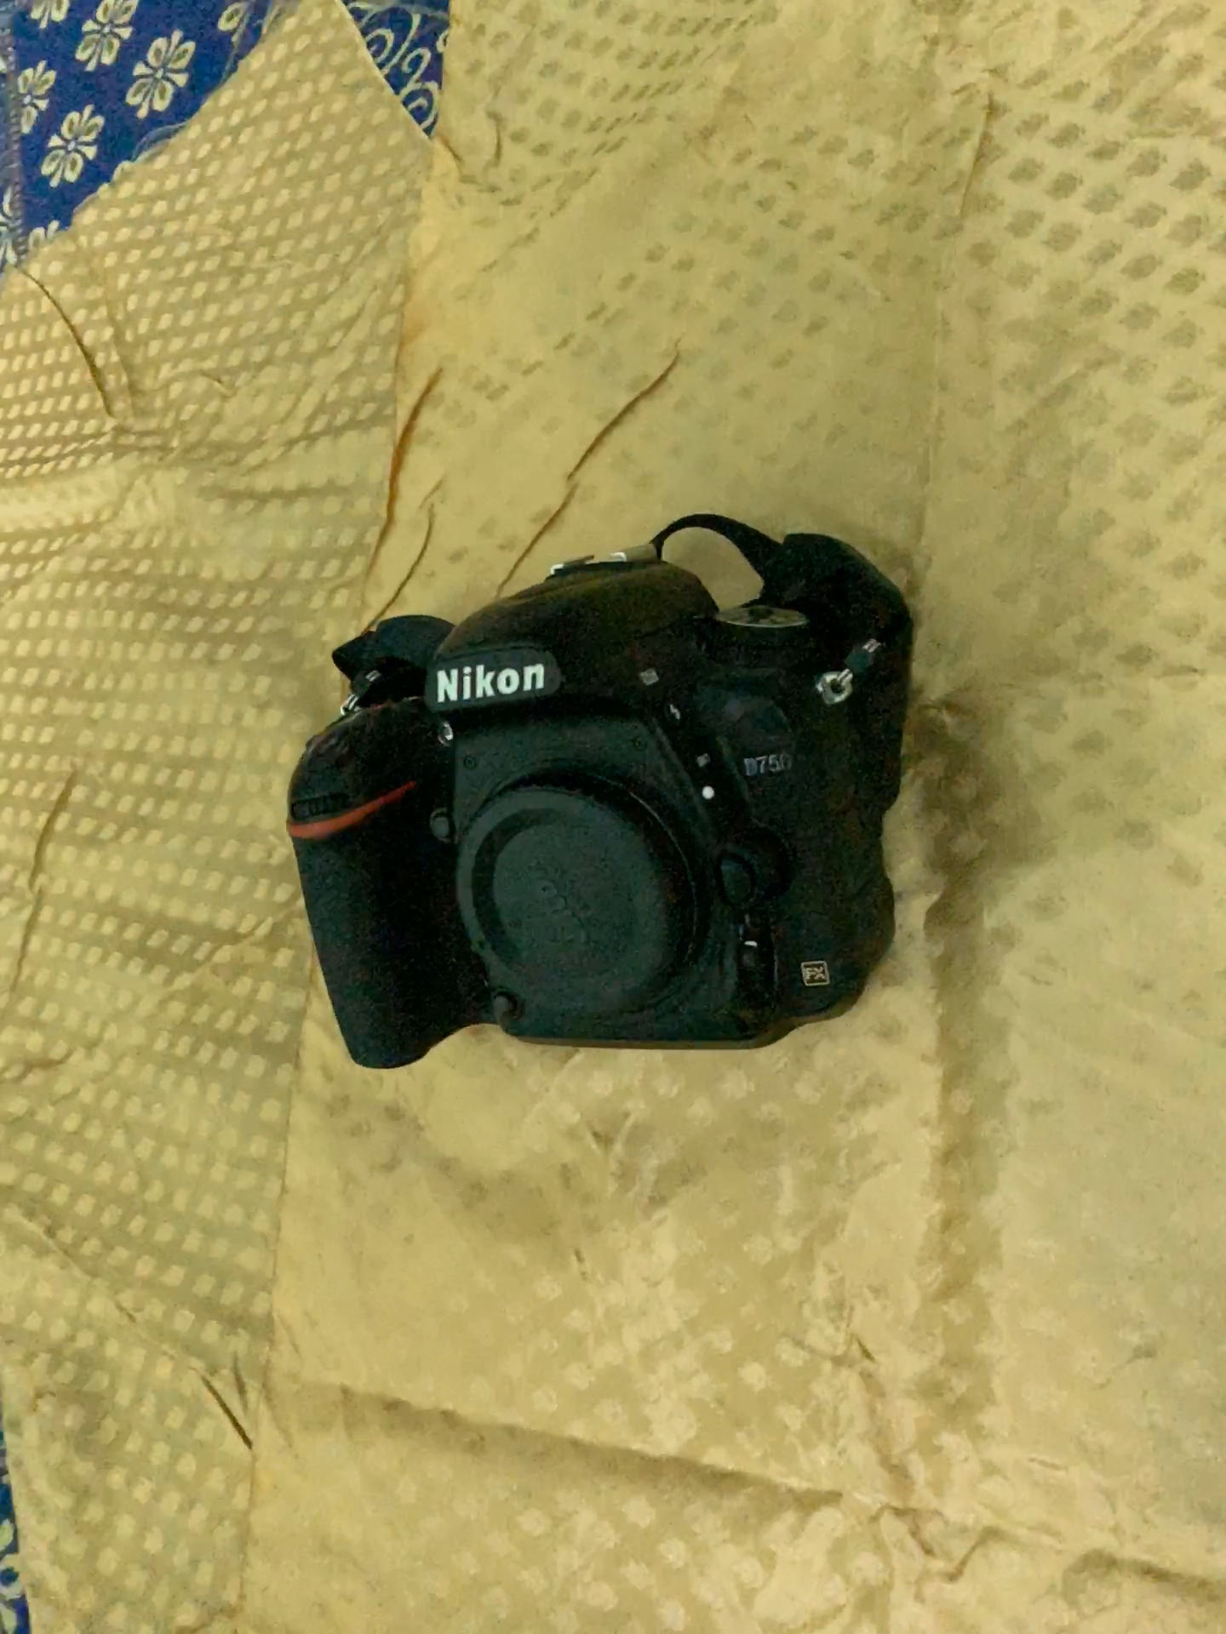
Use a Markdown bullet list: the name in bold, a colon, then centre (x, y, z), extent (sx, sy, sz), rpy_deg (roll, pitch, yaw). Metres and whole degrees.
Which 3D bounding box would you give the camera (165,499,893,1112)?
- **camera**: centre (-0.016, -0.003, 0.295), extent (0.130, 0.073, 0.110), rpy_deg (-4, 107, 30)
